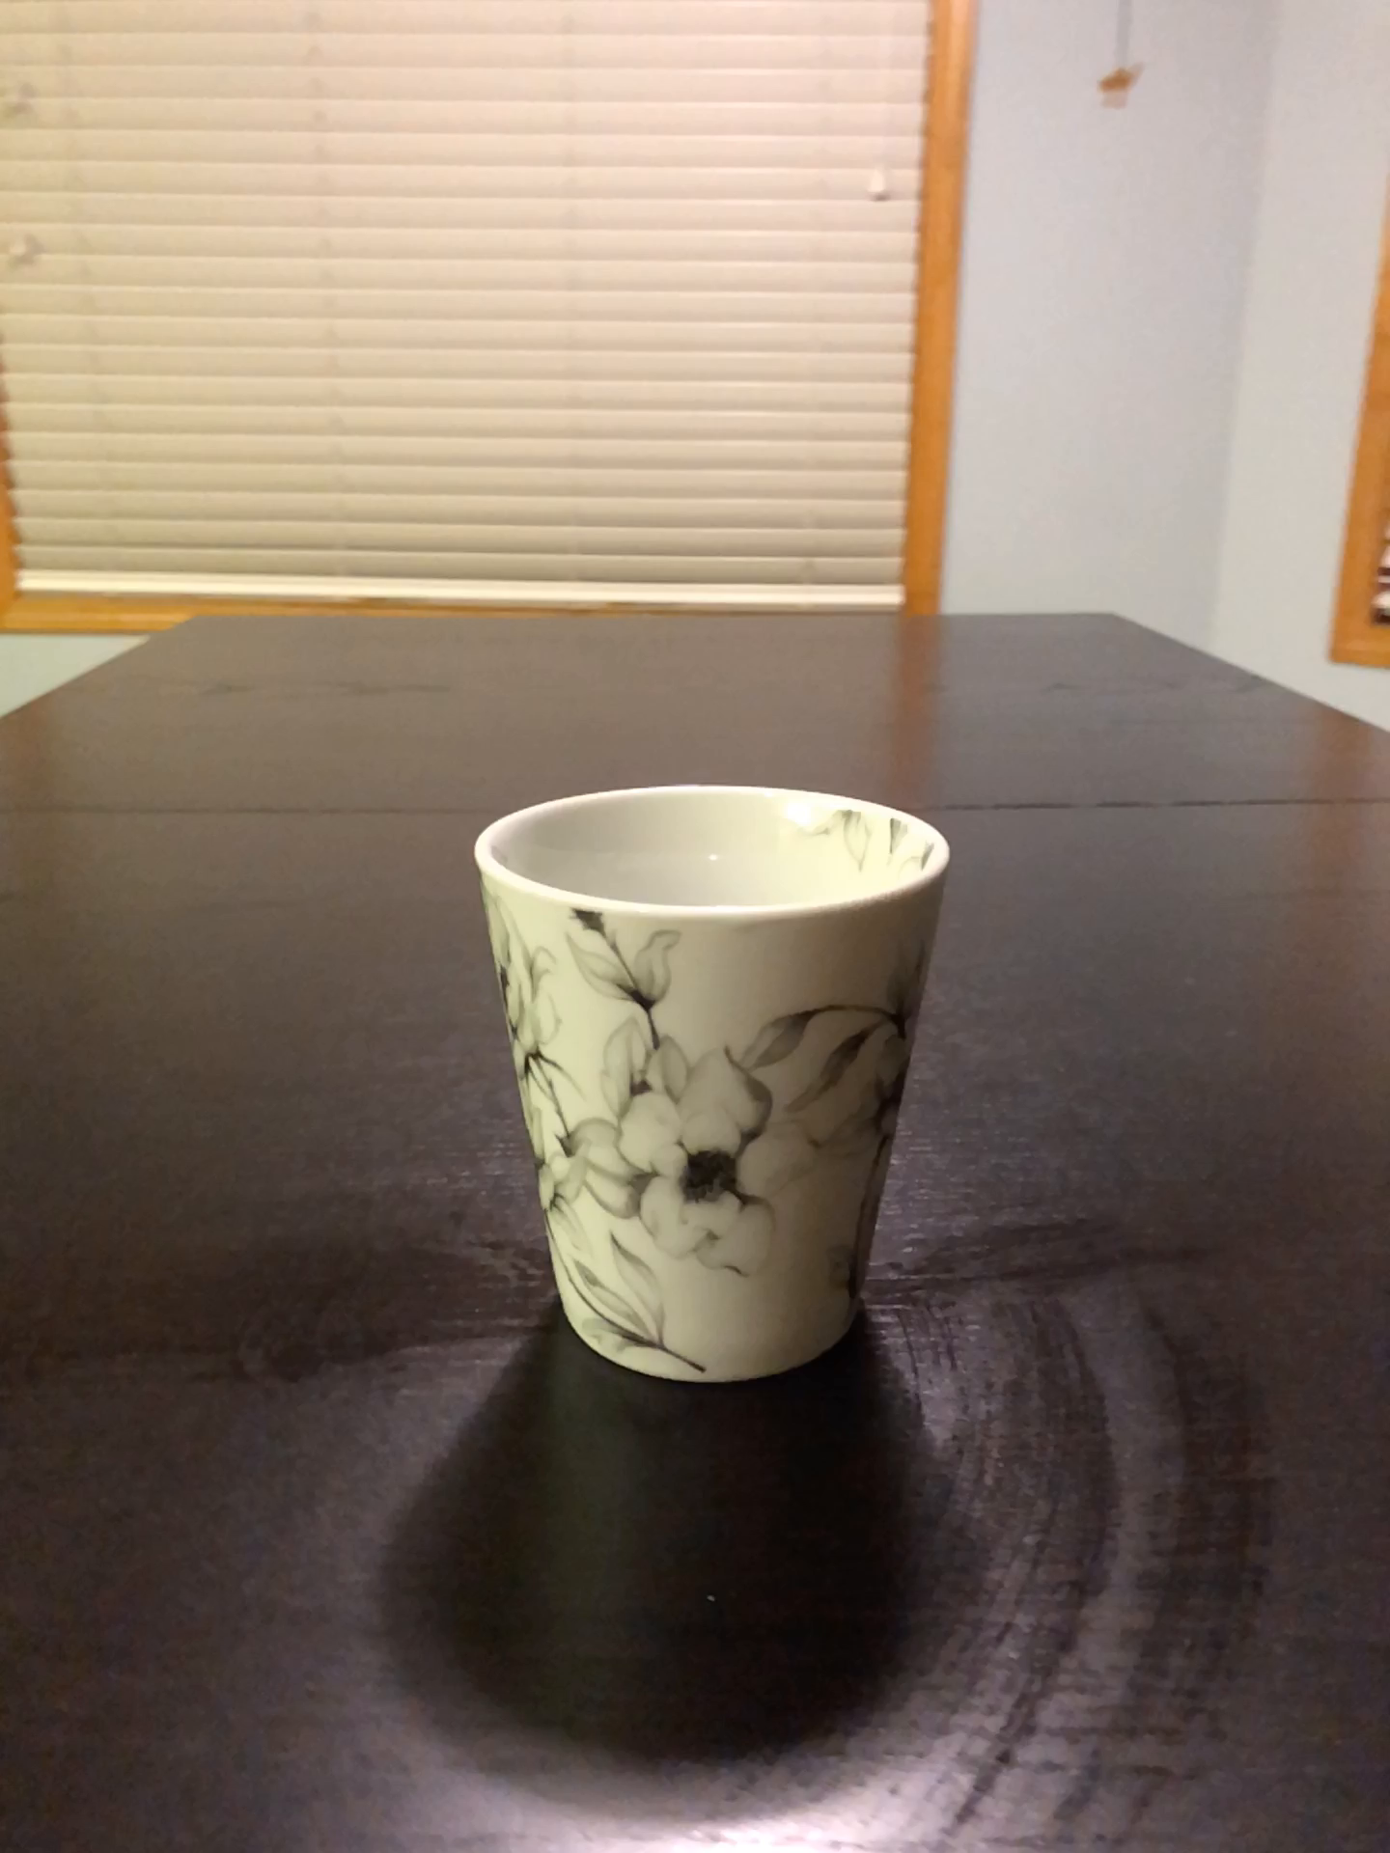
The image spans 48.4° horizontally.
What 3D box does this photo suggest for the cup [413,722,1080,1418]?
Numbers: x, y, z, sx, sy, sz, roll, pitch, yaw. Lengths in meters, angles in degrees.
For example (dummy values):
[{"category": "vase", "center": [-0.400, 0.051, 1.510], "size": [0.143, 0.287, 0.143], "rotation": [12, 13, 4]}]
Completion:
[{"category": "cup", "center": [0.002, 0.019, 0.334], "size": [0.100, 0.100, 0.120], "rotation": [-6, 19, -19]}]
